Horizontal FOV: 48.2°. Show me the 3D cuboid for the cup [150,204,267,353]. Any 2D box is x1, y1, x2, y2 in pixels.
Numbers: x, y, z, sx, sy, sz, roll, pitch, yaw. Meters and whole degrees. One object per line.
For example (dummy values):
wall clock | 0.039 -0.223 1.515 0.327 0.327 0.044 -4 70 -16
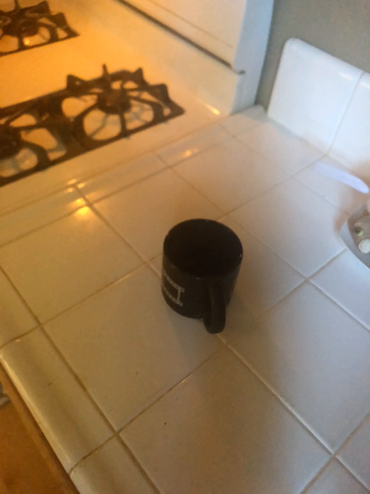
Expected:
cup | 0.018 0.033 0.481 0.090 0.089 0.131 -10 51 -14
